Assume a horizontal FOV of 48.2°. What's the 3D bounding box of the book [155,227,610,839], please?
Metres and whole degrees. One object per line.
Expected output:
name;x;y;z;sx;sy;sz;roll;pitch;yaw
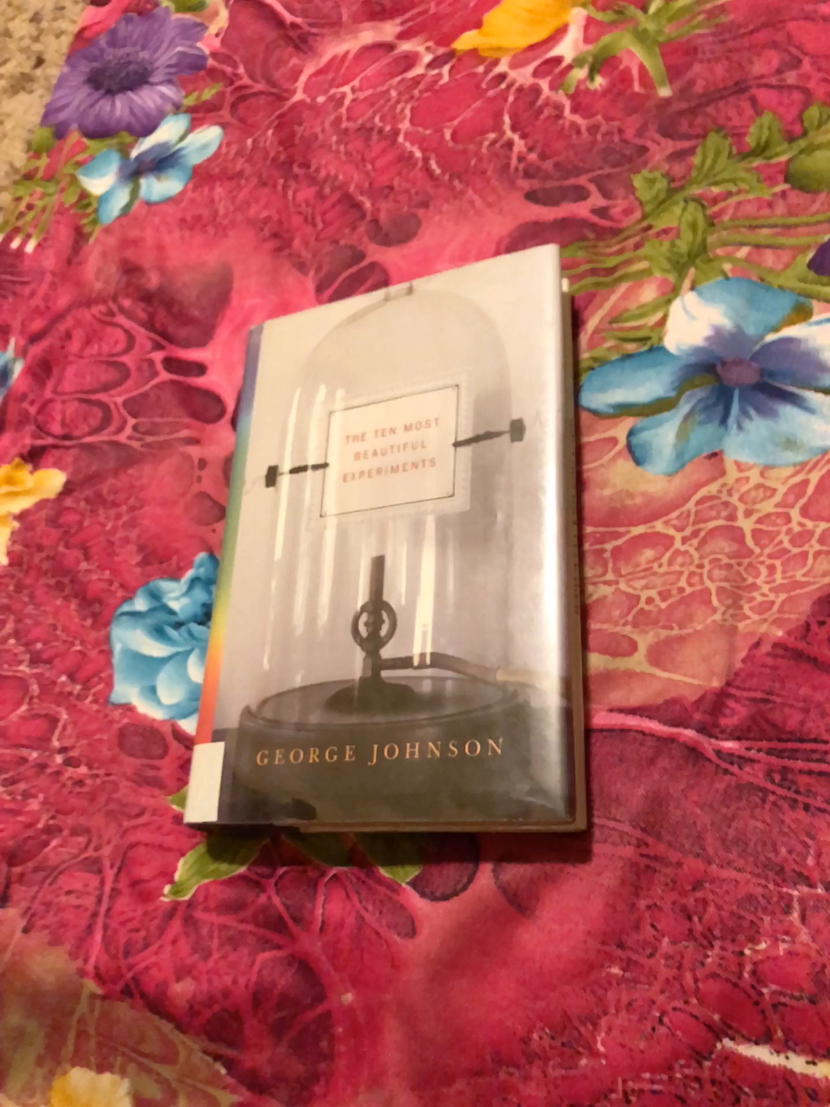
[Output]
book;-0.010;-0.007;0.322;0.141;0.030;0.200;-9;64;24
